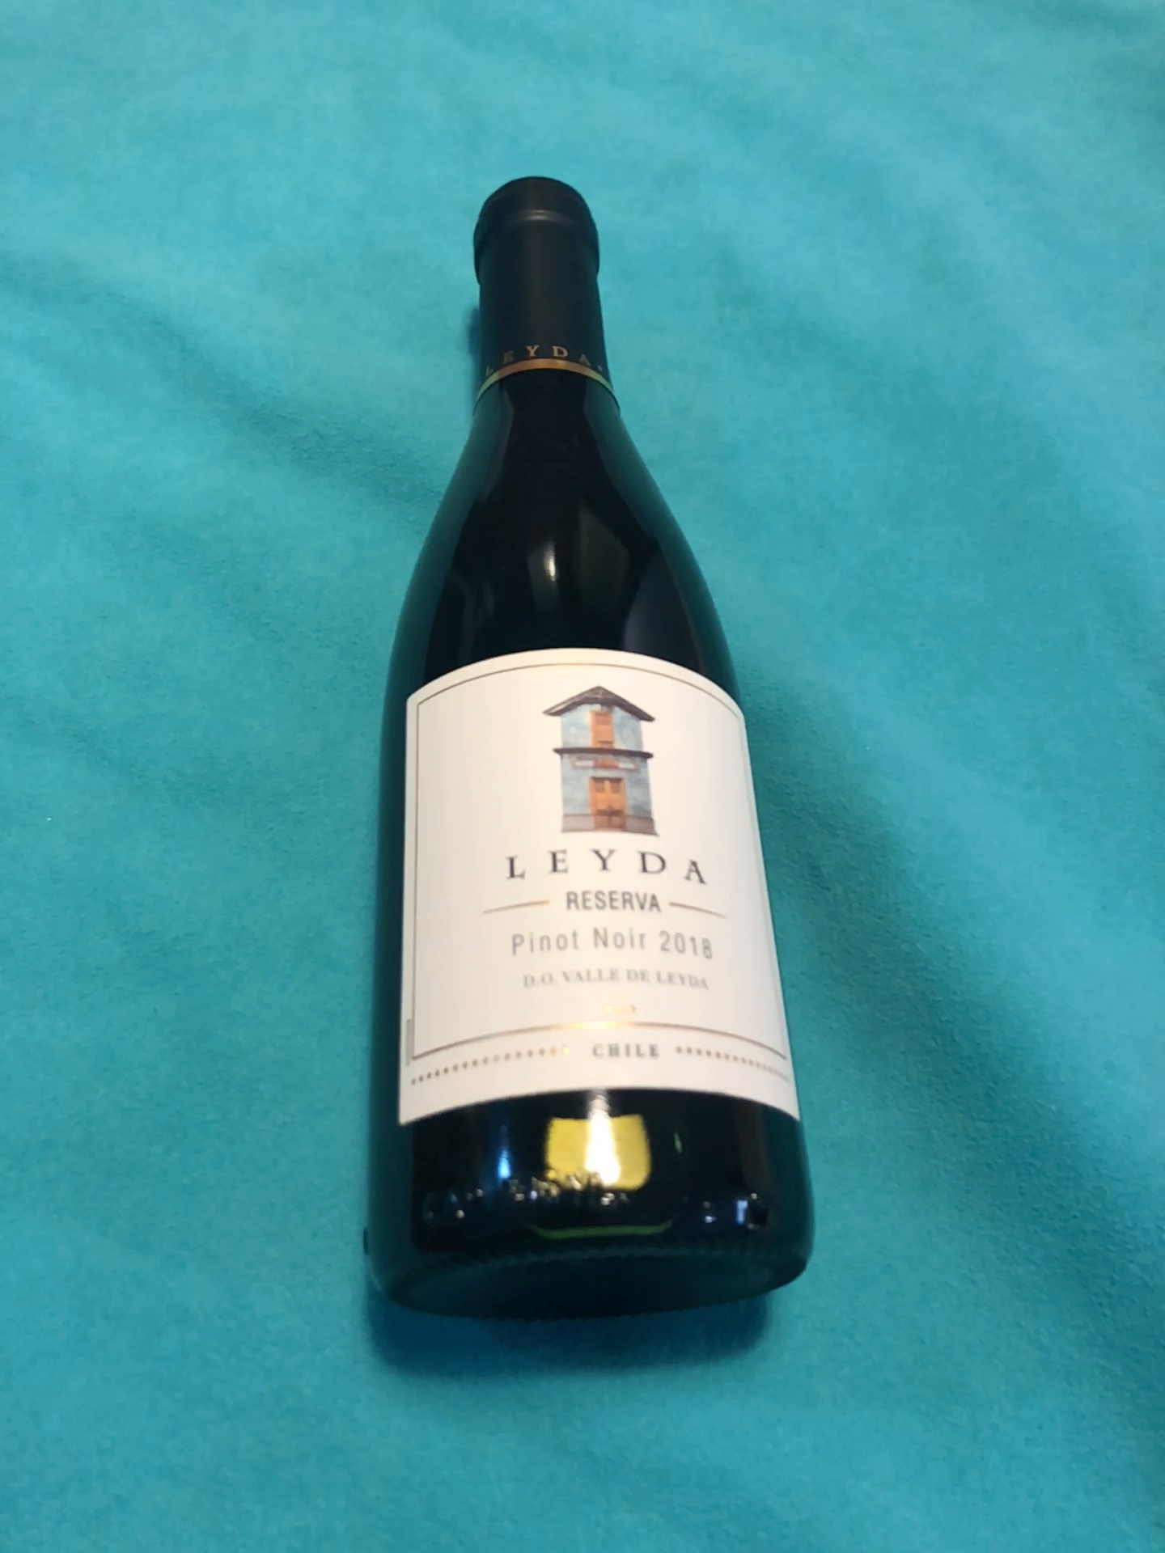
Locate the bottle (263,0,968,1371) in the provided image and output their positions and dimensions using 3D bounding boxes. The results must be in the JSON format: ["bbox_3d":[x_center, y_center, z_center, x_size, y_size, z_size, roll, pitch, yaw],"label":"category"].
[{"bbox_3d":[-0.004,-0.044,0.225,0.070,0.080,0.261,-2,62,-3],"label":"bottle"}]
